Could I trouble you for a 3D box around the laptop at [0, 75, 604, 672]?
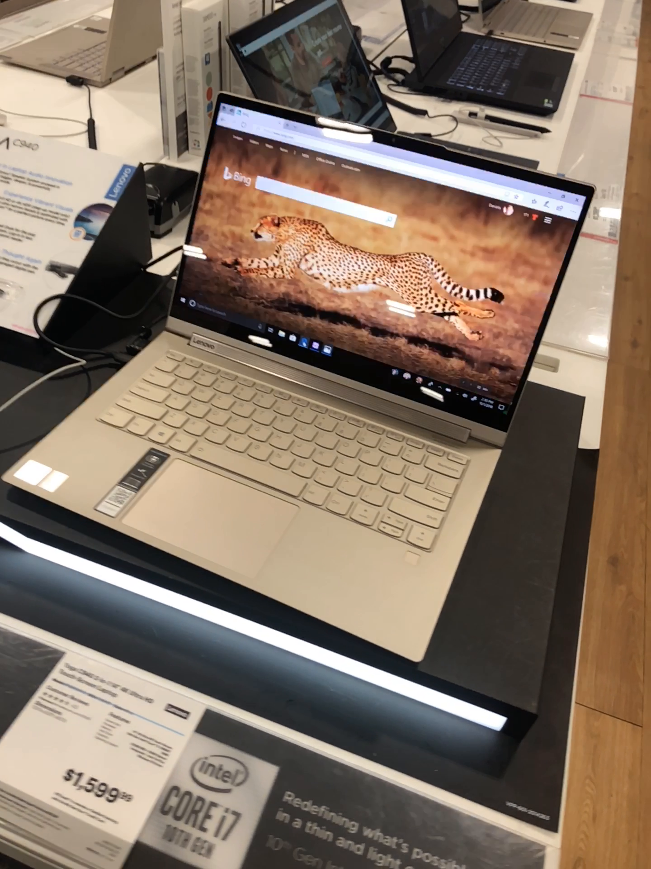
[{"bbox_3d":[-0.012,-0.083,0.524,0.320,0.170,0.327,21,48,15],"label":"laptop"}]
